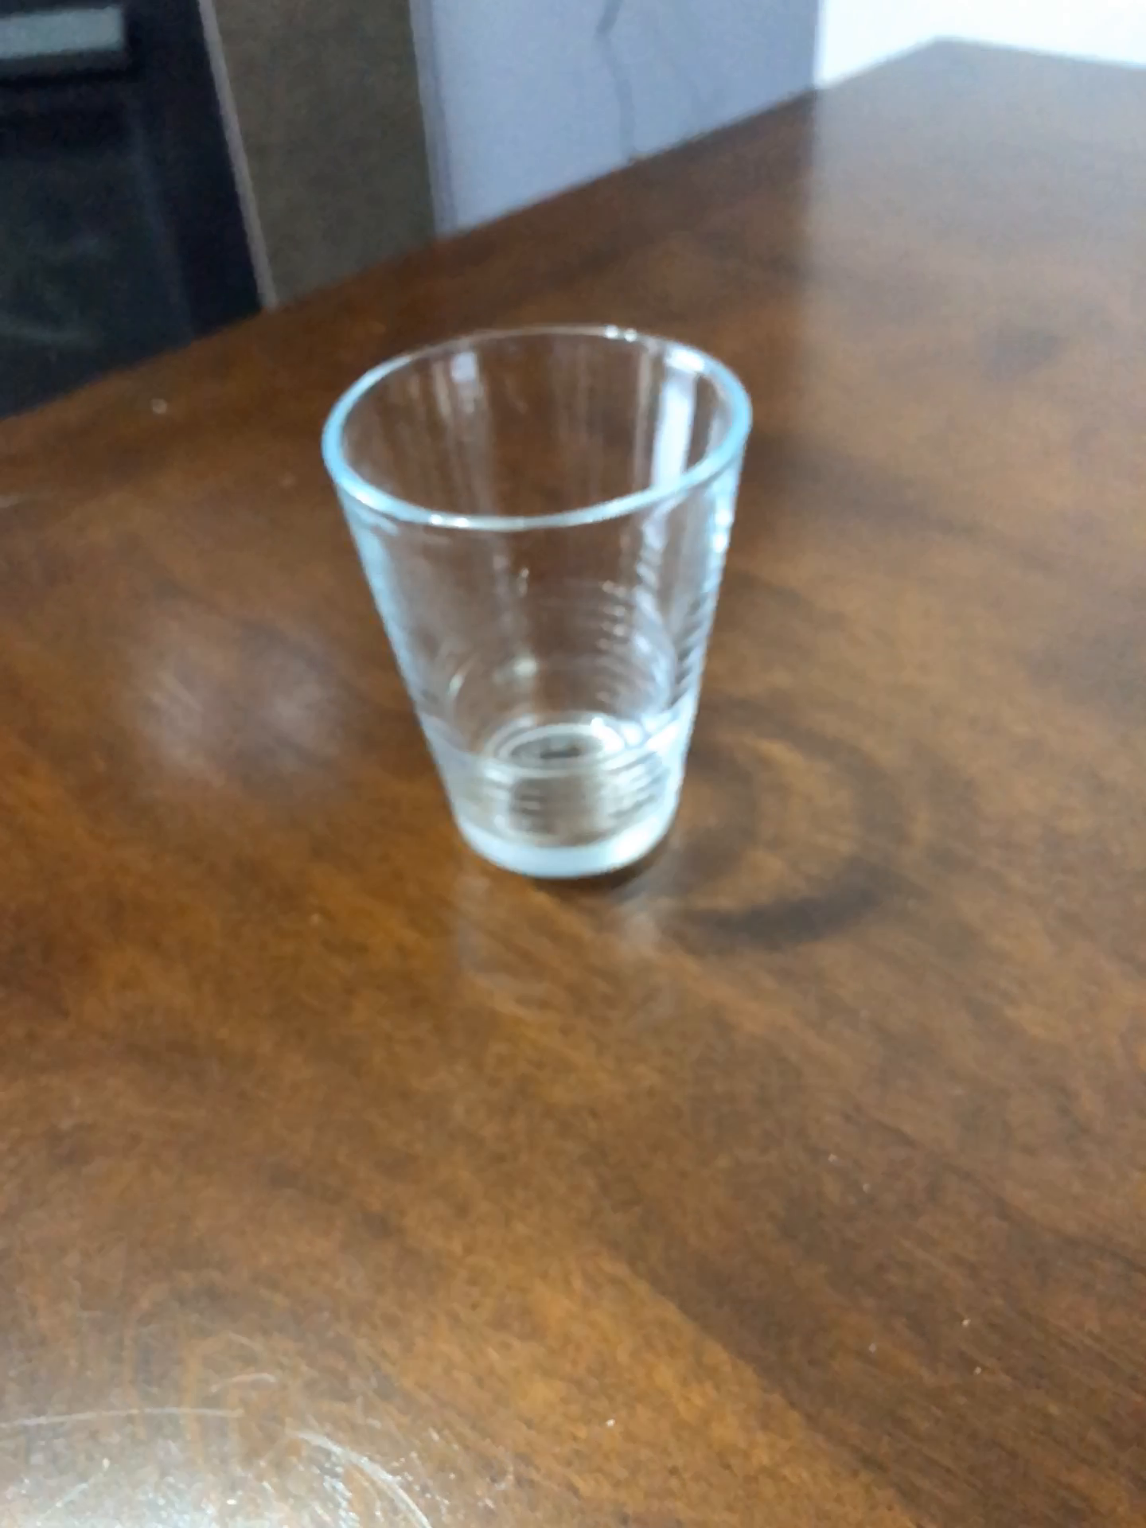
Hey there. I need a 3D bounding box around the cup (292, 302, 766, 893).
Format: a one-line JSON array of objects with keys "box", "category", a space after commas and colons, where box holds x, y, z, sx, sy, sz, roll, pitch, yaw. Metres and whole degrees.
[{"box": [-0.005, -0.034, 0.279, 0.080, 0.100, 0.070, -2, 41, 2], "category": "cup"}]
